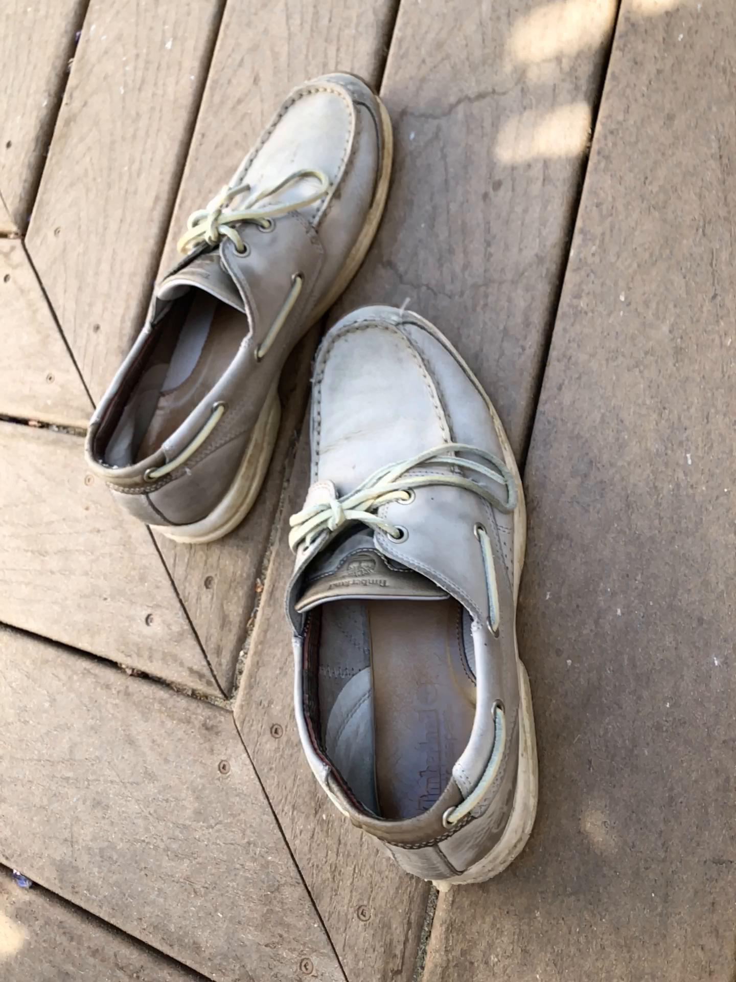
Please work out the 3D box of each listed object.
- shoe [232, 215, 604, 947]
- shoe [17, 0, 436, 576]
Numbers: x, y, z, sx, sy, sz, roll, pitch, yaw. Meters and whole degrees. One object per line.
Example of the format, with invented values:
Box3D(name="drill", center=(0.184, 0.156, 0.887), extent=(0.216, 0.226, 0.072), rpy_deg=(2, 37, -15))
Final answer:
Box3D(name="shoe", center=(0.021, 0.042, 0.411), extent=(0.120, 0.109, 0.310), rpy_deg=(-13, 72, 22))
Box3D(name="shoe", center=(-0.078, -0.122, 0.494), extent=(0.117, 0.099, 0.314), rpy_deg=(17, 85, 28))
